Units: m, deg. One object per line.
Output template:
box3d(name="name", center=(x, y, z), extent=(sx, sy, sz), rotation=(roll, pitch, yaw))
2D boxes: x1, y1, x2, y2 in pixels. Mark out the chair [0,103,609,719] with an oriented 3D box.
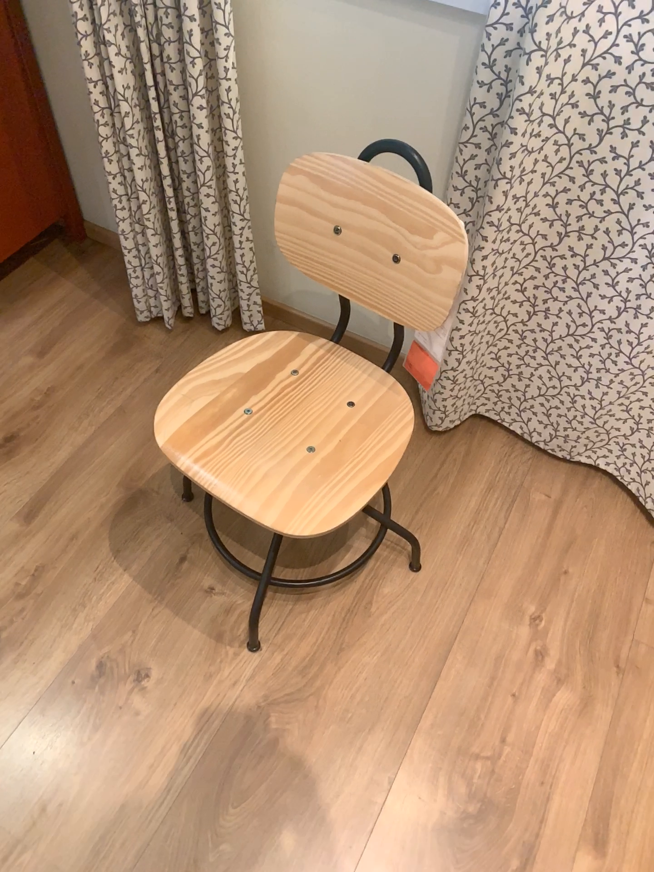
box3d(name="chair", center=(-0.006, -0.042, 1.079), extent=(0.491, 0.598, 0.631), rotation=(31, 57, 19))
